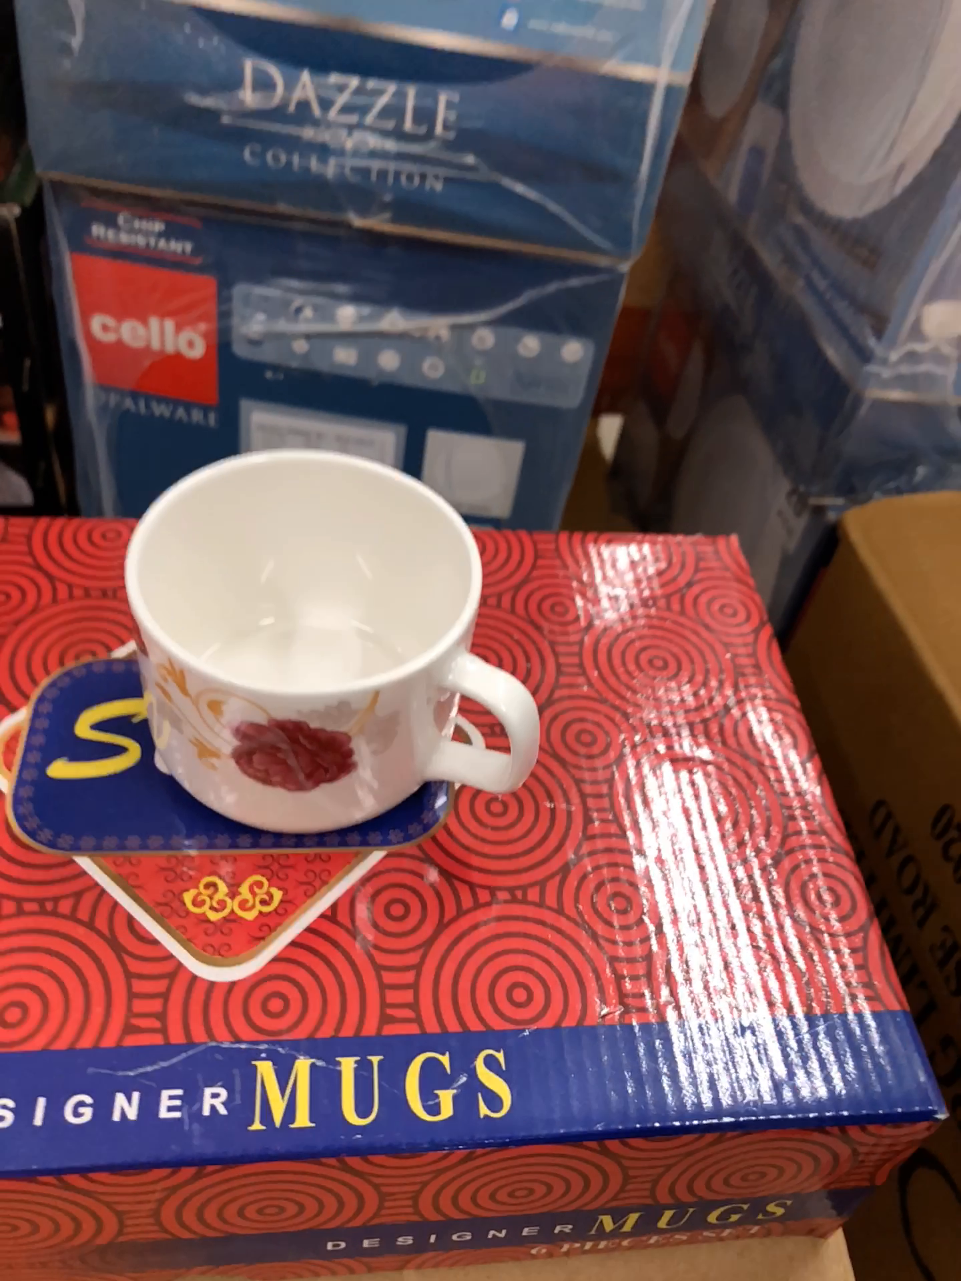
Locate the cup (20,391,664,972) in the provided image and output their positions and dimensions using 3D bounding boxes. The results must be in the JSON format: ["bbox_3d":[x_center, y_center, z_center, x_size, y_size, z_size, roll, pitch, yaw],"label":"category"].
[{"bbox_3d":[-0.027,0.003,0.231,0.100,0.050,0.081,26,46,14],"label":"cup"}]
